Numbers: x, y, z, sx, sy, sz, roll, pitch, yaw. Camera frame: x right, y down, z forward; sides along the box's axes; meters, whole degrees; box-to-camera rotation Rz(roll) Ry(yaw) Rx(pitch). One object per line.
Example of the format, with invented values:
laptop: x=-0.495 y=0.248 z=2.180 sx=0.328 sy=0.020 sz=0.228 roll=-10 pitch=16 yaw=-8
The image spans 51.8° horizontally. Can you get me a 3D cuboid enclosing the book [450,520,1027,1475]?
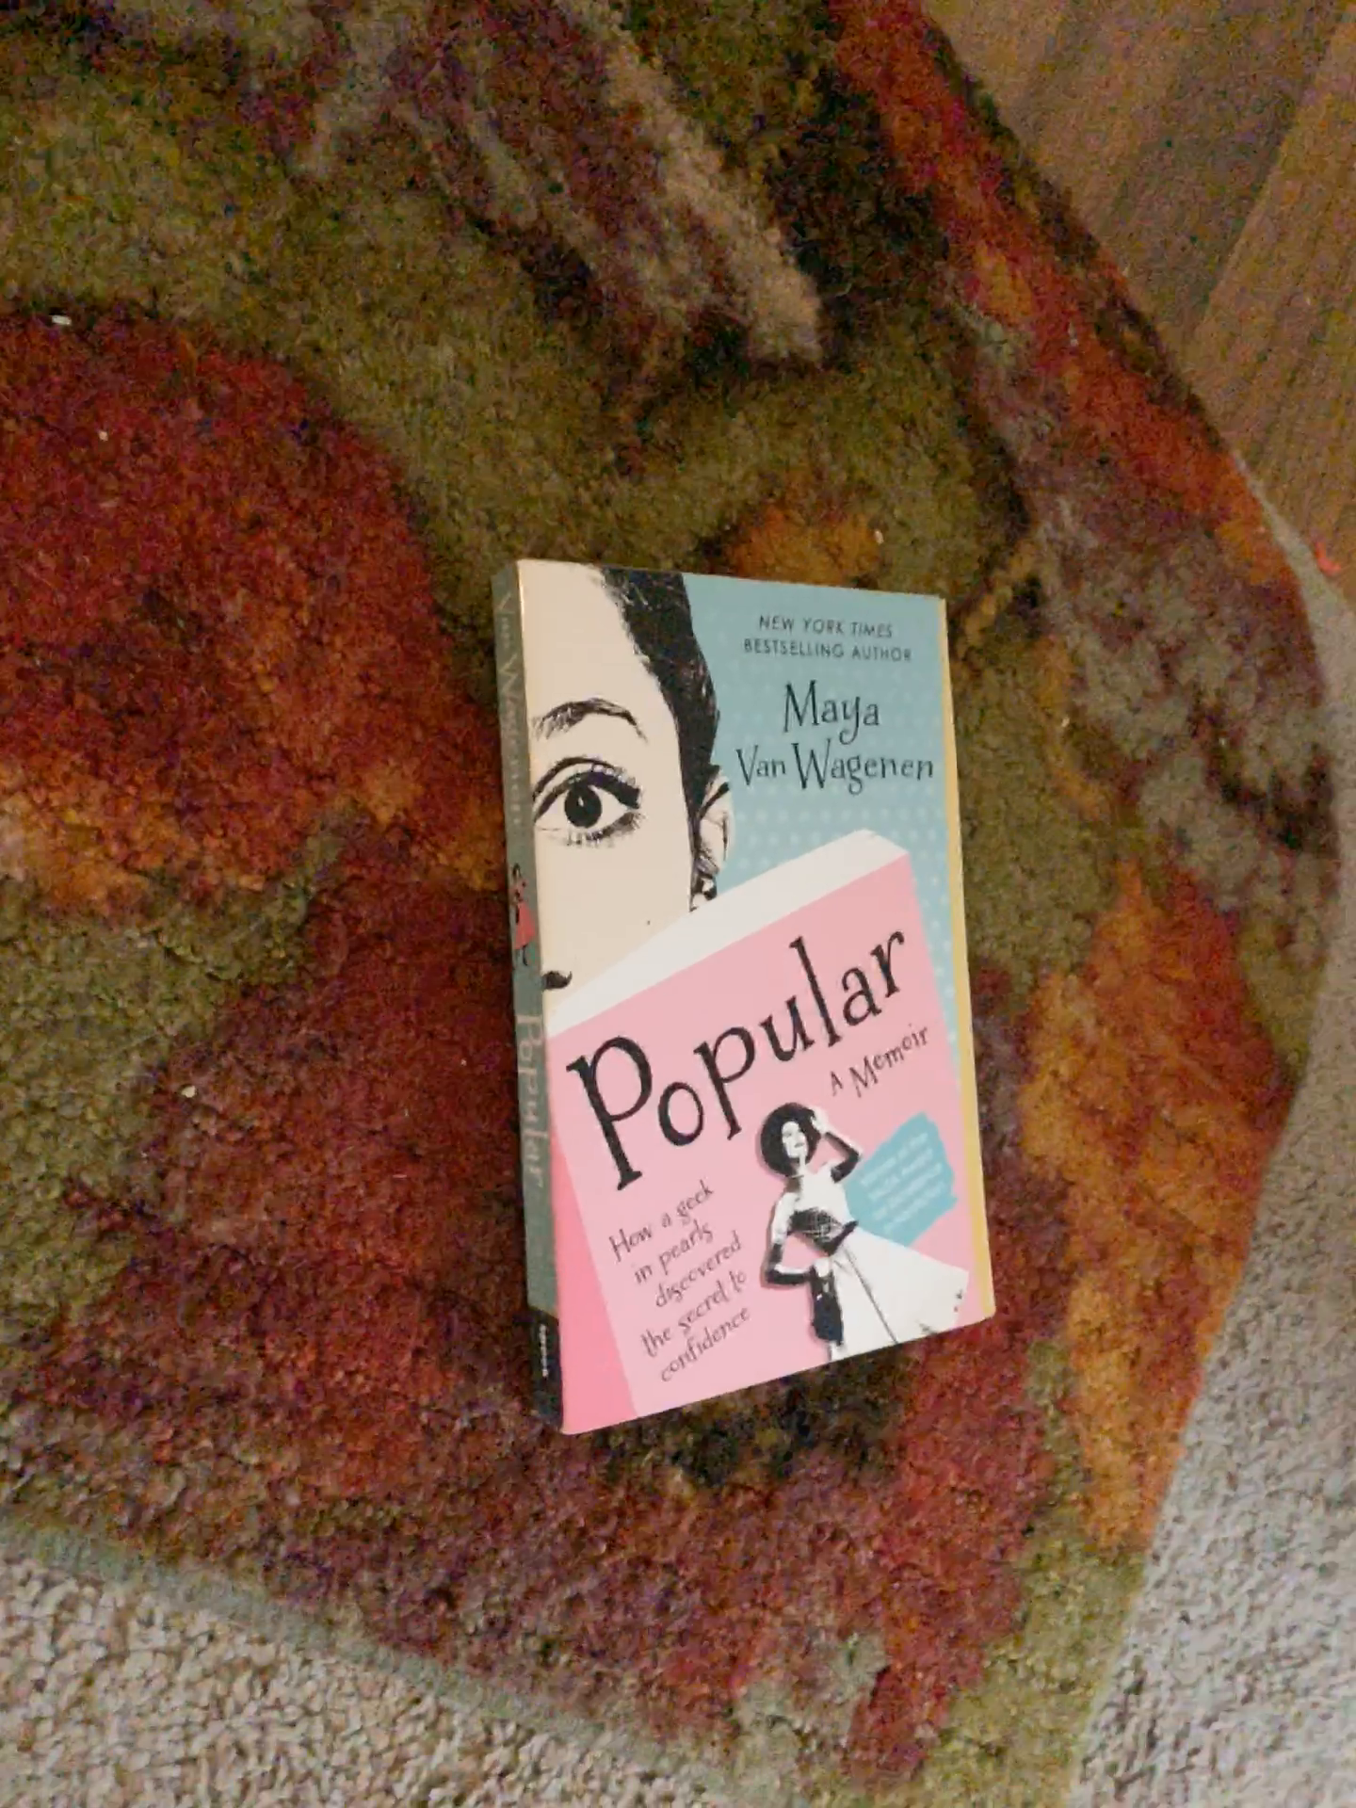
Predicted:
book: x=0.022 y=0.018 z=0.374 sx=0.151 sy=0.030 sz=0.220 roll=-4 pitch=90 yaw=-33
